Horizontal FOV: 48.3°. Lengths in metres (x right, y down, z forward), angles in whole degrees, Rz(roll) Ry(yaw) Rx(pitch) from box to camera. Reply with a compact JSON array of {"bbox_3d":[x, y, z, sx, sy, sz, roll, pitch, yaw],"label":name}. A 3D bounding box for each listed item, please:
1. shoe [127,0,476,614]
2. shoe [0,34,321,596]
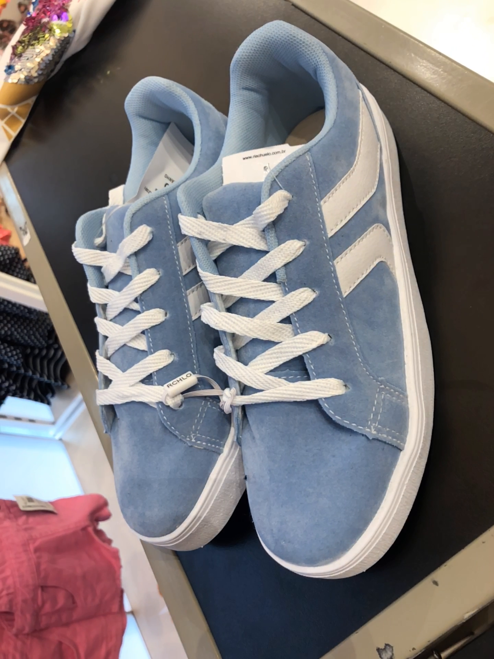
[{"bbox_3d":[0.034,-0.010,0.269,0.100,0.119,0.240,-10,69,35],"label":"shoe"},{"bbox_3d":[-0.039,-0.002,0.300,0.100,0.119,0.240,-6,71,35],"label":"shoe"}]
